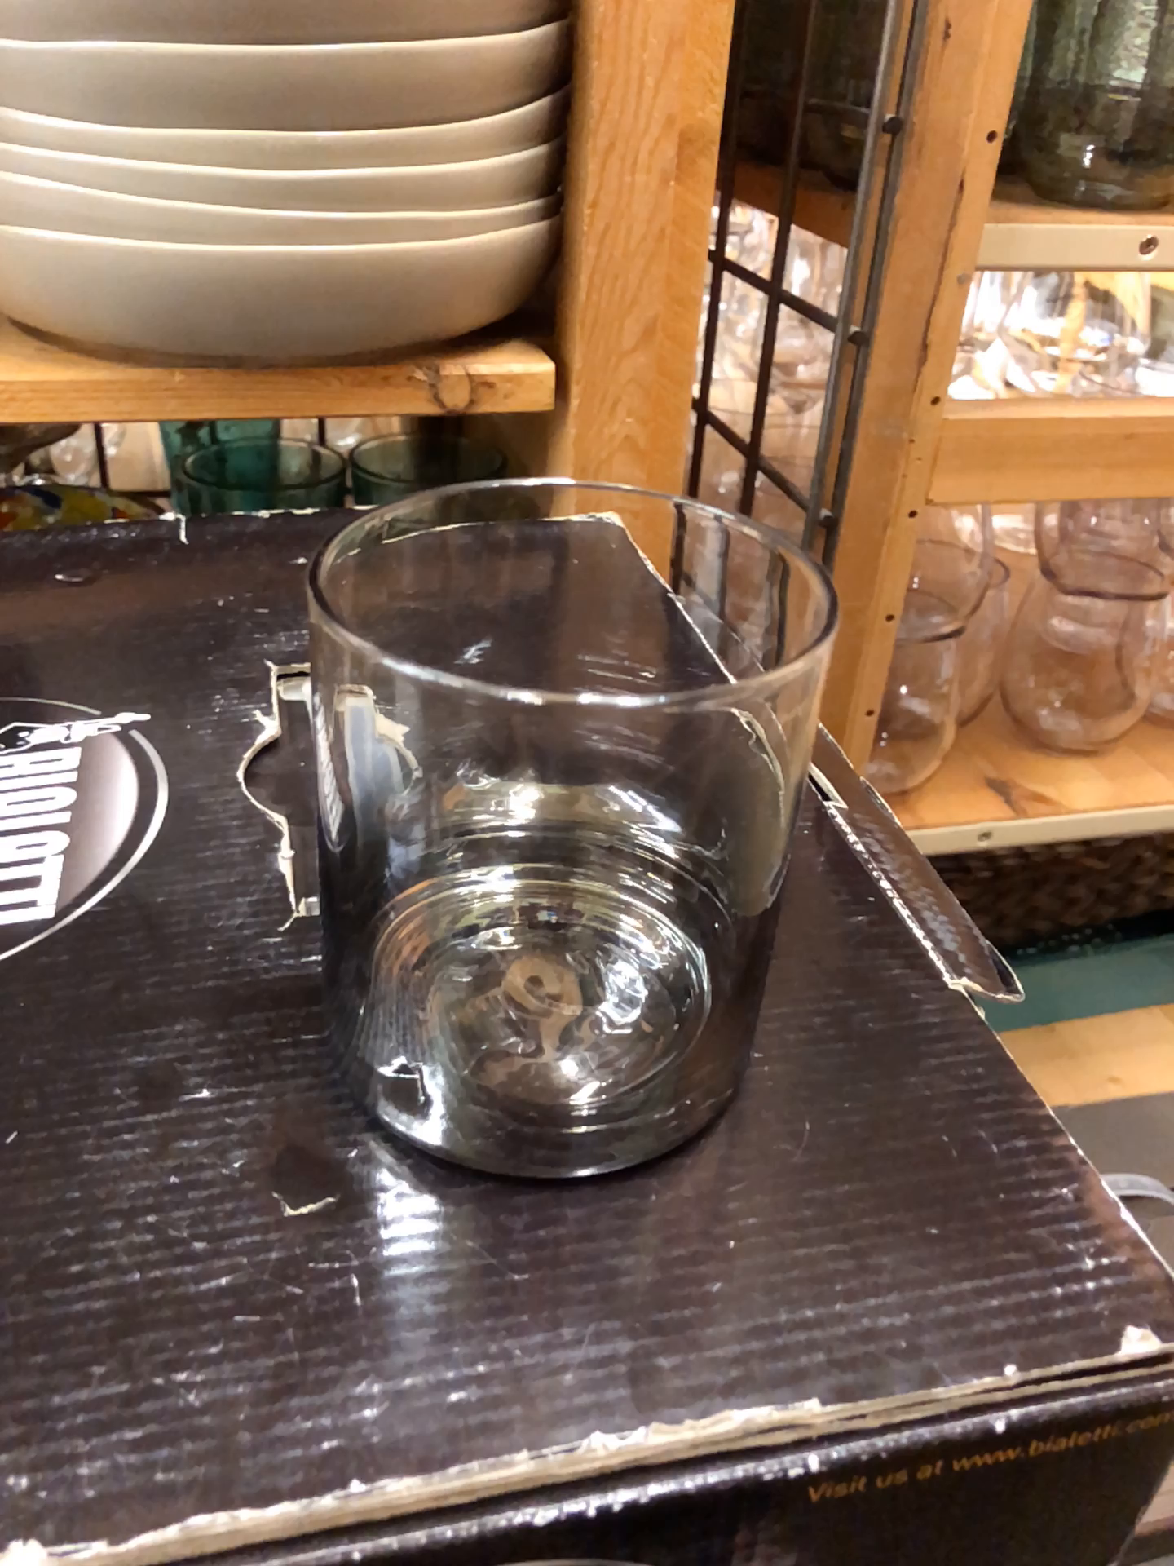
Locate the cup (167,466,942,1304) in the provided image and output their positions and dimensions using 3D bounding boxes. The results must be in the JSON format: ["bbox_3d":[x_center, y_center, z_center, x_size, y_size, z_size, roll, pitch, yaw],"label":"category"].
[{"bbox_3d":[-0.007,0.009,0.231,0.090,0.093,0.085,3,32,-2],"label":"cup"}]
